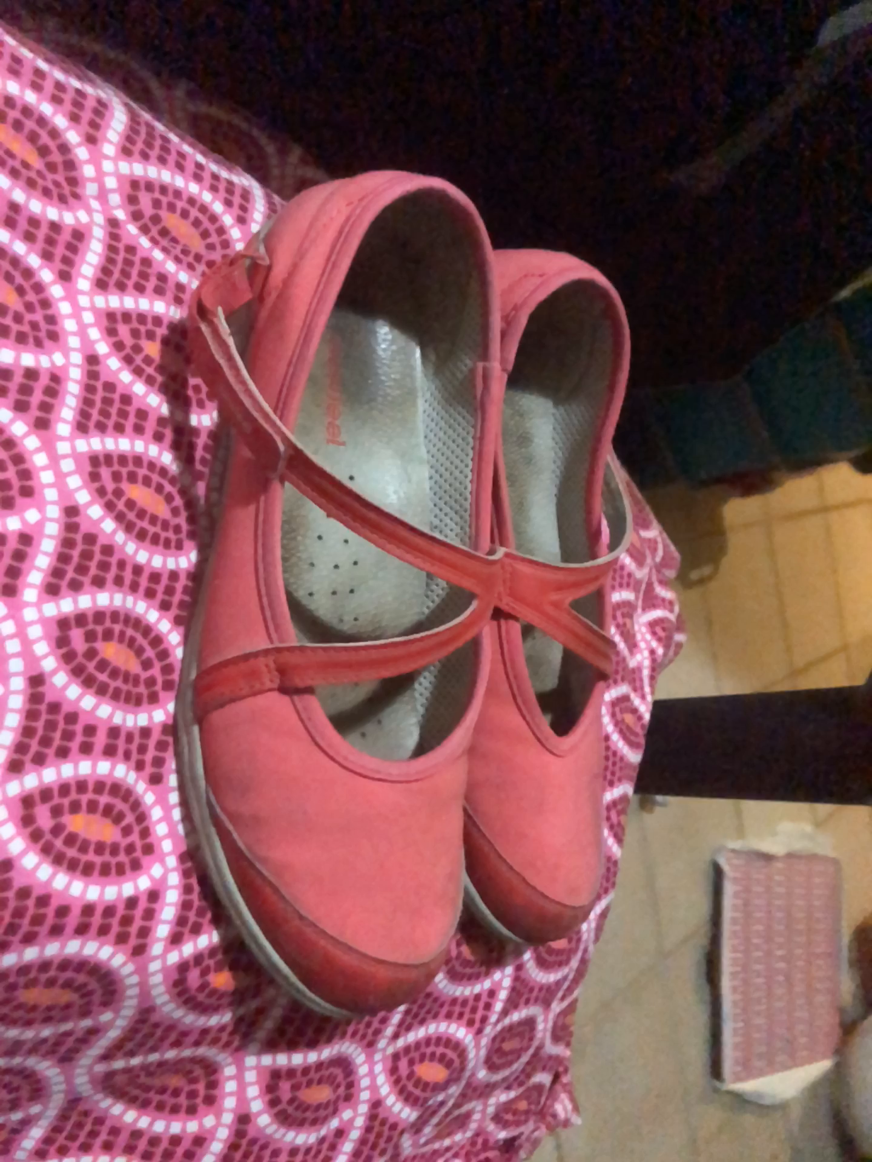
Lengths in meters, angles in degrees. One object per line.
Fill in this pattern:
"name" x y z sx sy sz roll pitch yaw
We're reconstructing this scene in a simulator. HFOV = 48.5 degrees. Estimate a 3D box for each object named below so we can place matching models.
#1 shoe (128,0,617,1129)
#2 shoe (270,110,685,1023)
"shoe" -0.023 -0.007 0.318 0.111 0.099 0.290 4 81 -47
"shoe" 0.015 -0.004 0.389 0.111 0.099 0.300 2 82 -48
